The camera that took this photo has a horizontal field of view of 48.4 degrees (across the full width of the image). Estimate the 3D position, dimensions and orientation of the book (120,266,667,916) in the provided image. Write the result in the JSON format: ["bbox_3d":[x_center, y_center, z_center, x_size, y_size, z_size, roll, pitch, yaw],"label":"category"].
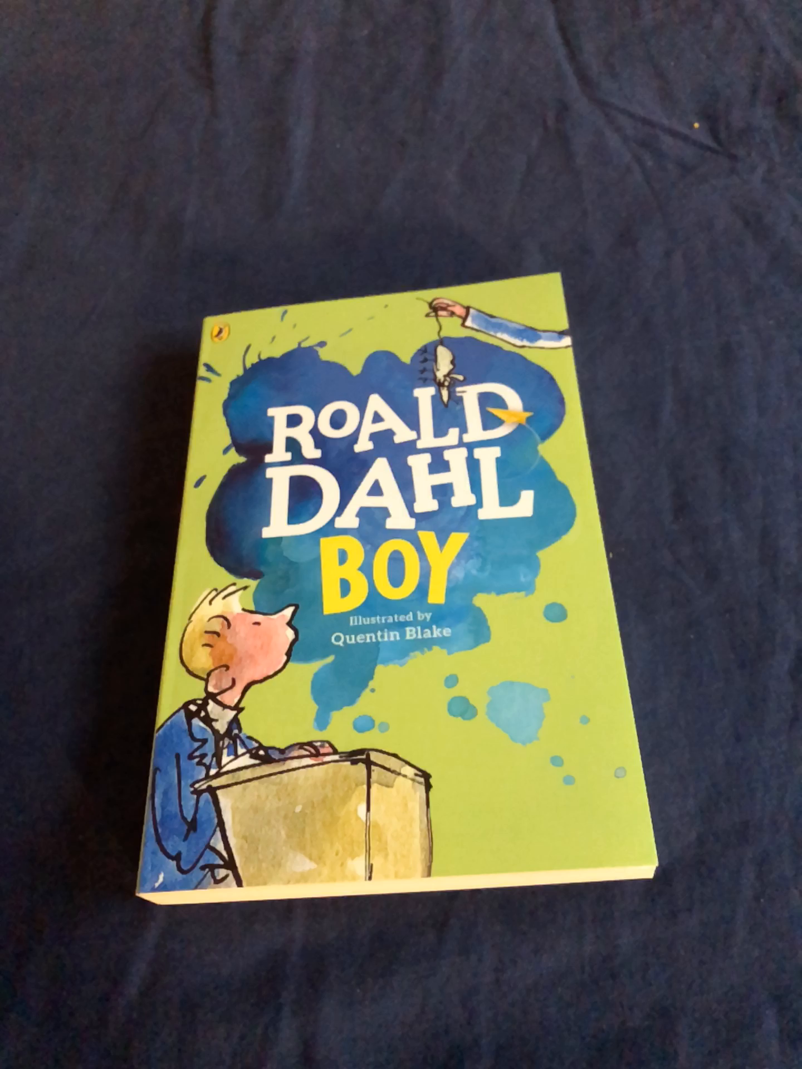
[{"bbox_3d":[-0.004,0.006,0.262,0.125,0.027,0.189,-4,60,4],"label":"book"}]
